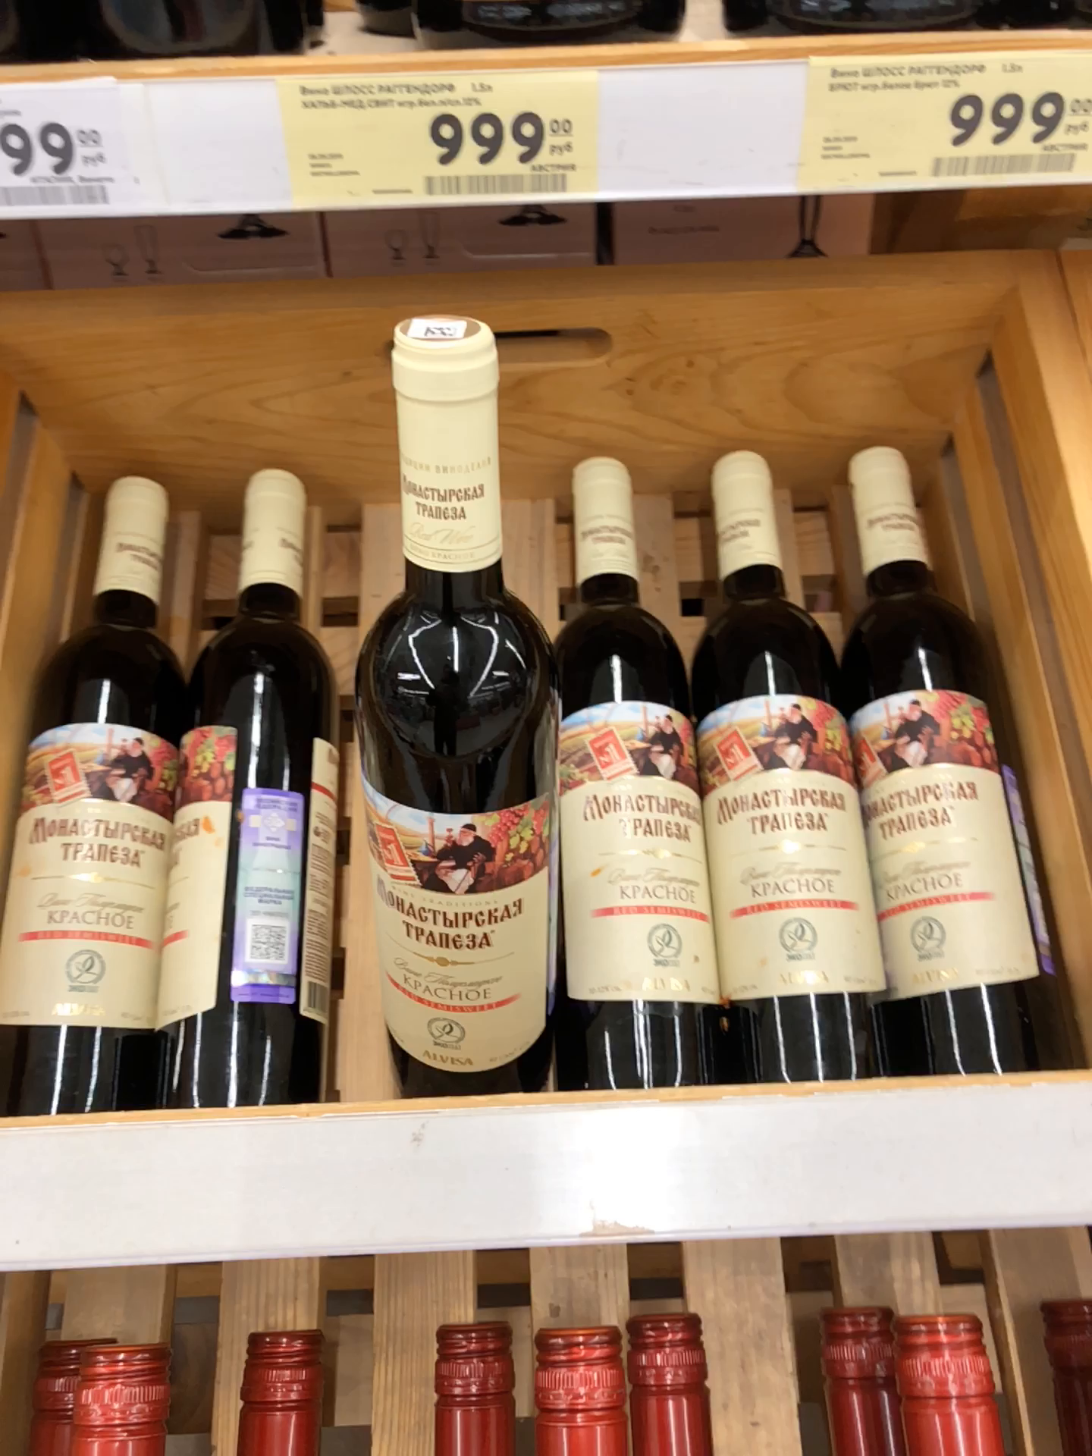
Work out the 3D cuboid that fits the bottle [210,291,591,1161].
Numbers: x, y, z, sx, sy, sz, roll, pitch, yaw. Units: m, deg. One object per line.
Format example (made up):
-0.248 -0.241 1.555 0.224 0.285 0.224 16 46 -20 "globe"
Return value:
-0.032 0.018 0.418 0.080 0.308 0.080 -2 36 1 "bottle"
